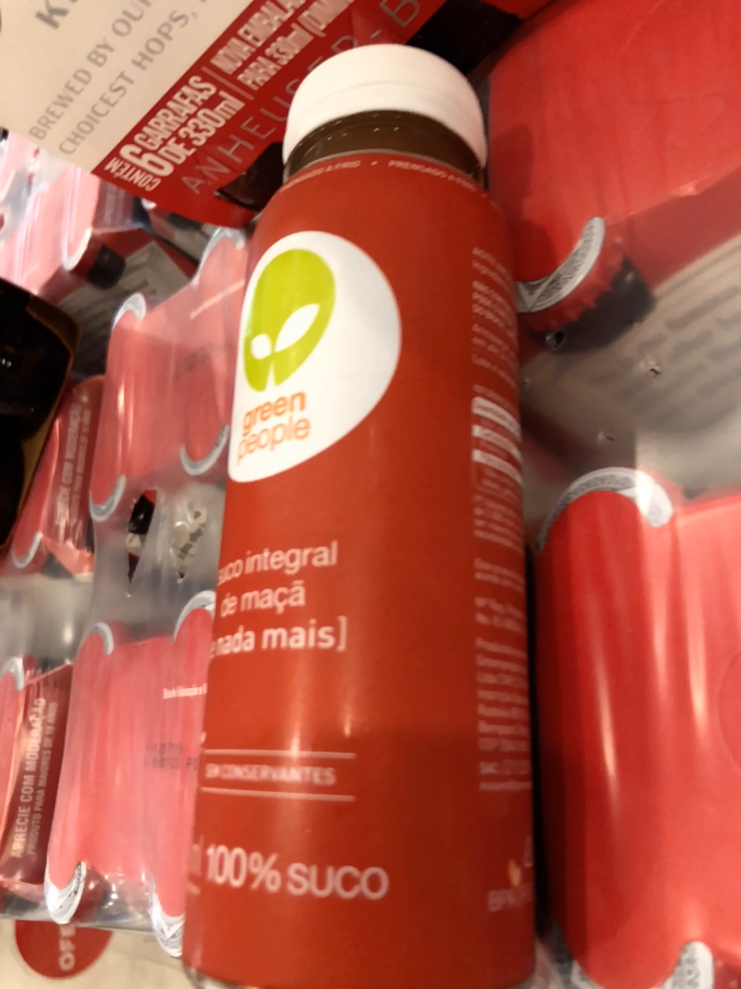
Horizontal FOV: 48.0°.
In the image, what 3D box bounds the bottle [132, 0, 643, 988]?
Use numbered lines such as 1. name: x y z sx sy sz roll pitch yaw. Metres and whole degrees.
1. bottle: 0.003 -0.013 0.141 0.060 0.040 0.180 -16 65 46
